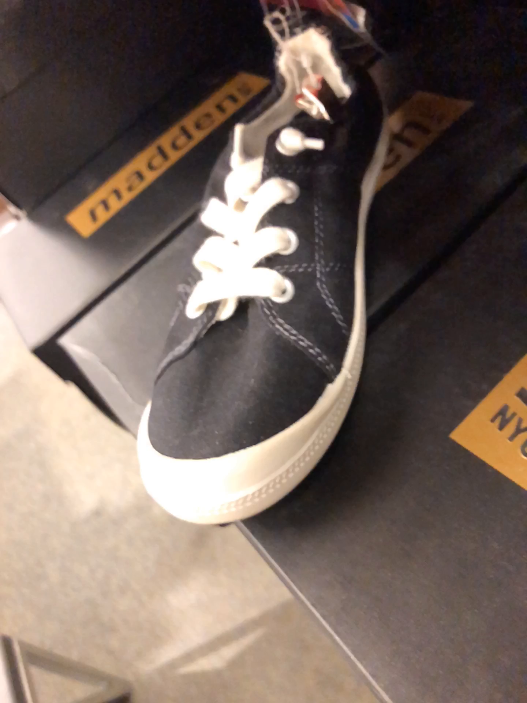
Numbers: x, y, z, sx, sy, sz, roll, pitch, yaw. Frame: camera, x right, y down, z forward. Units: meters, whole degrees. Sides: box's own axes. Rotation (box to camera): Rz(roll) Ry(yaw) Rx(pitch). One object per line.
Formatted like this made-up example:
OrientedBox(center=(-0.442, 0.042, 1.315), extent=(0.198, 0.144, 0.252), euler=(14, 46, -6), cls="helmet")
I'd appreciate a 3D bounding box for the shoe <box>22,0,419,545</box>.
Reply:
OrientedBox(center=(0.007, -0.053, 0.247), extent=(0.080, 0.082, 0.235), euler=(-5, 52, 26), cls="shoe")
